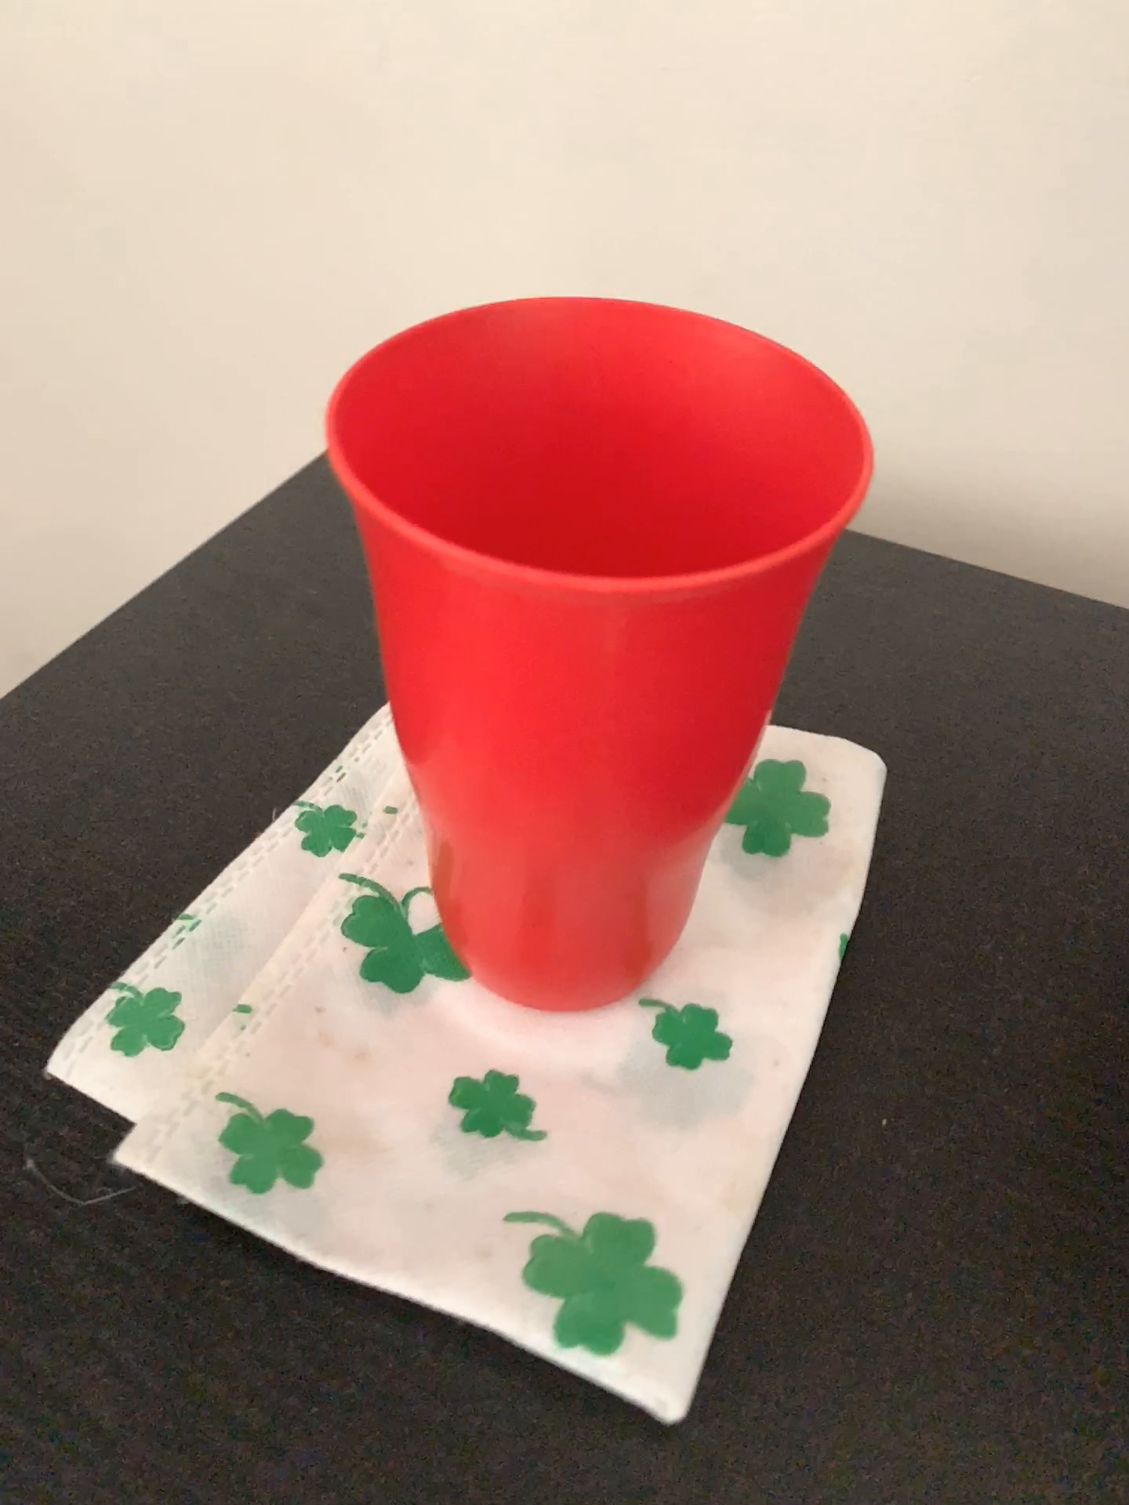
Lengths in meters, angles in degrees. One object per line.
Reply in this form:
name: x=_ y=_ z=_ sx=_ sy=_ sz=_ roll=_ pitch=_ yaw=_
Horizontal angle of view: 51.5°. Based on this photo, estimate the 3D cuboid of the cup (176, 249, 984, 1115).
cup: x=0.001 y=-0.015 z=0.194 sx=0.080 sy=0.091 sz=0.082 roll=3 pitch=44 yaw=-3
